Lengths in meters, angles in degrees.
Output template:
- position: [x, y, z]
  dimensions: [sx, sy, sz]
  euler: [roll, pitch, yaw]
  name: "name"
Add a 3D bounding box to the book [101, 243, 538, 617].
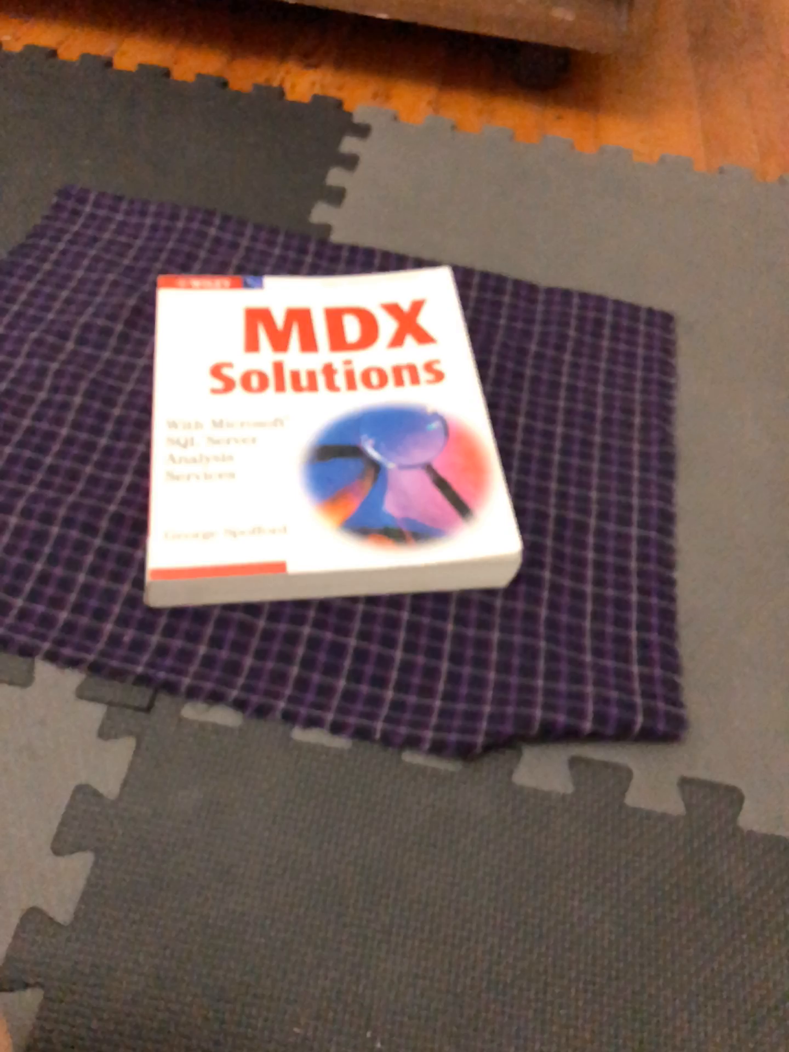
- position: [-0.054, -0.075, 0.545]
  dimensions: [0.220, 0.050, 0.261]
  euler: [-3, 52, -9]
  name: "book"
